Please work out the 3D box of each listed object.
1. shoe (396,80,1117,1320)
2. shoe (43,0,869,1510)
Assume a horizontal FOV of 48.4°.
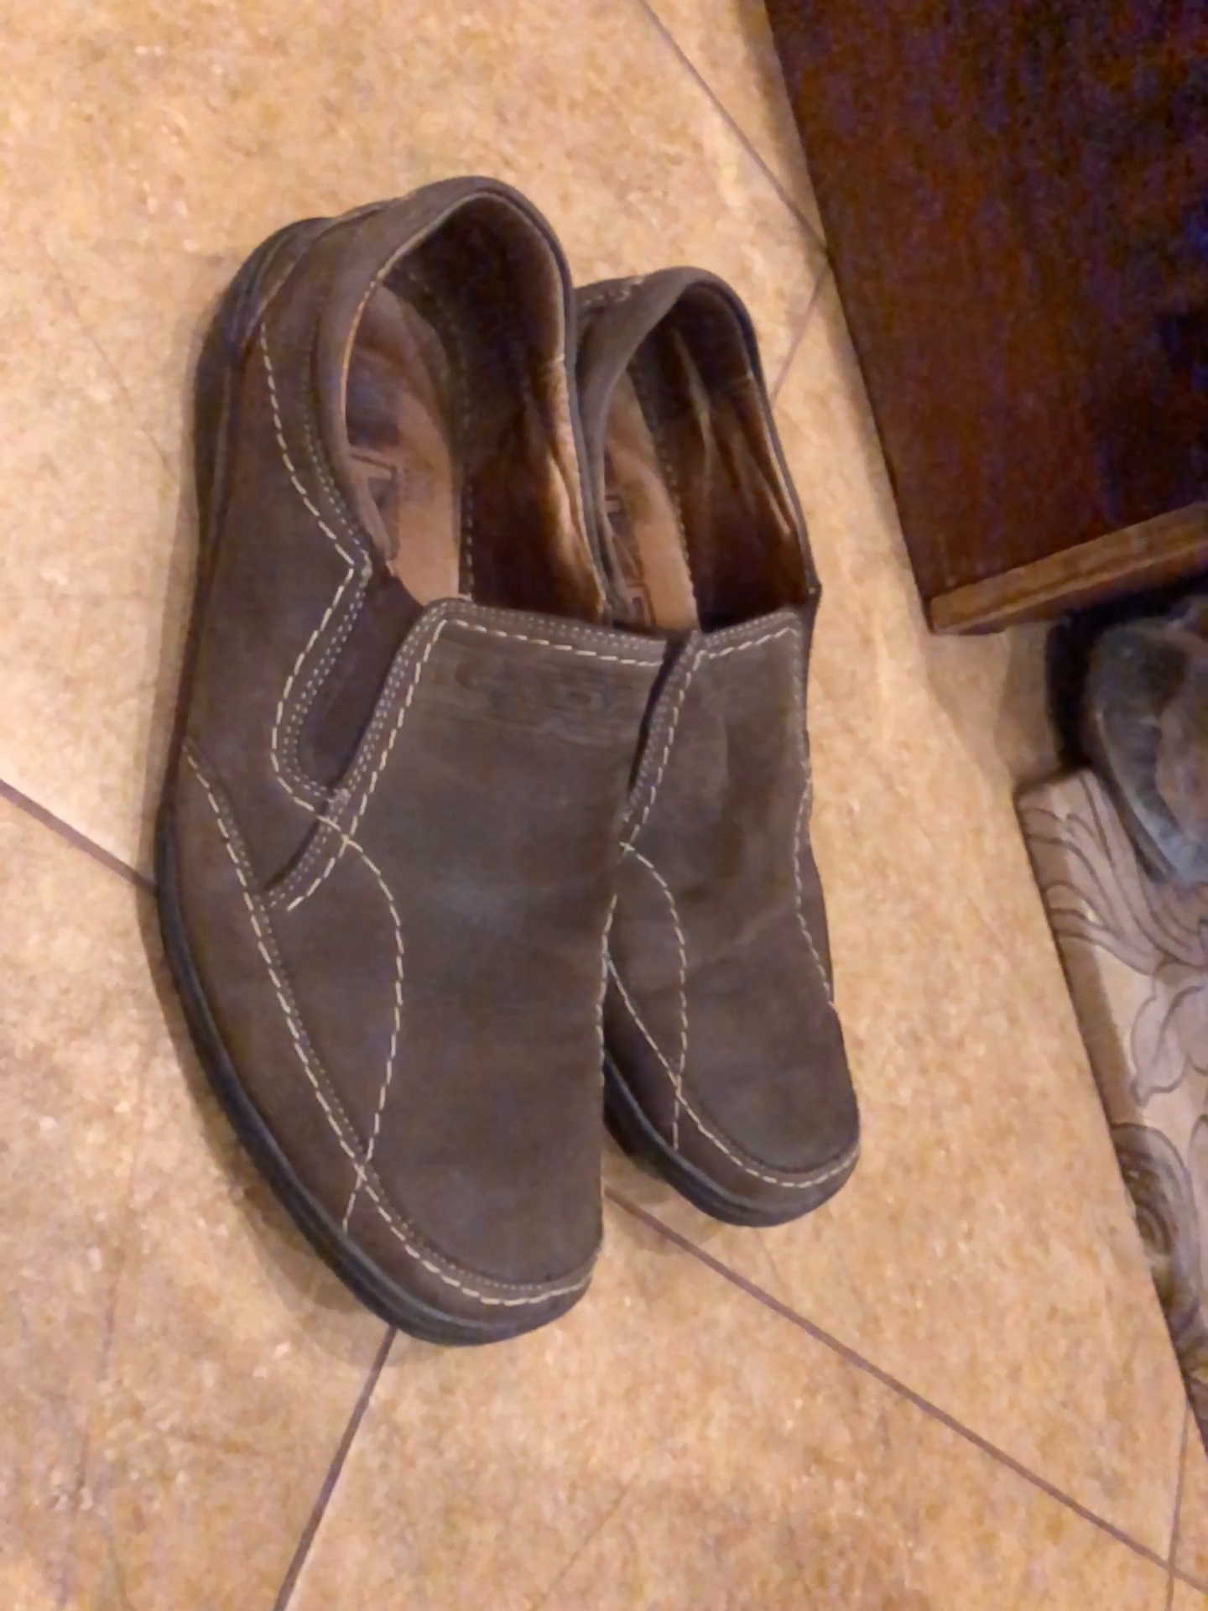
[{"bbox_3d":[0.044,-0.027,0.390,0.121,0.090,0.300,-8,84,-44],"label":"shoe"},{"bbox_3d":[-0.037,-0.018,0.325,0.121,0.090,0.300,-5,82,-44],"label":"shoe"}]
